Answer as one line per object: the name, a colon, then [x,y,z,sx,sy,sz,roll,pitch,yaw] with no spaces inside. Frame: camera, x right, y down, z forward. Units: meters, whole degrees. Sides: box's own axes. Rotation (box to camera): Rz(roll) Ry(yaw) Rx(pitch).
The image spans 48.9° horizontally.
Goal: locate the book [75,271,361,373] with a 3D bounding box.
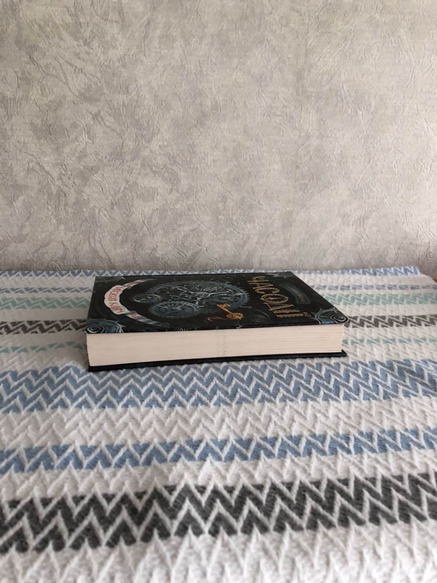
book: [-0.011,0.019,0.479,0.238,0.032,0.178,-1,17,-11]
